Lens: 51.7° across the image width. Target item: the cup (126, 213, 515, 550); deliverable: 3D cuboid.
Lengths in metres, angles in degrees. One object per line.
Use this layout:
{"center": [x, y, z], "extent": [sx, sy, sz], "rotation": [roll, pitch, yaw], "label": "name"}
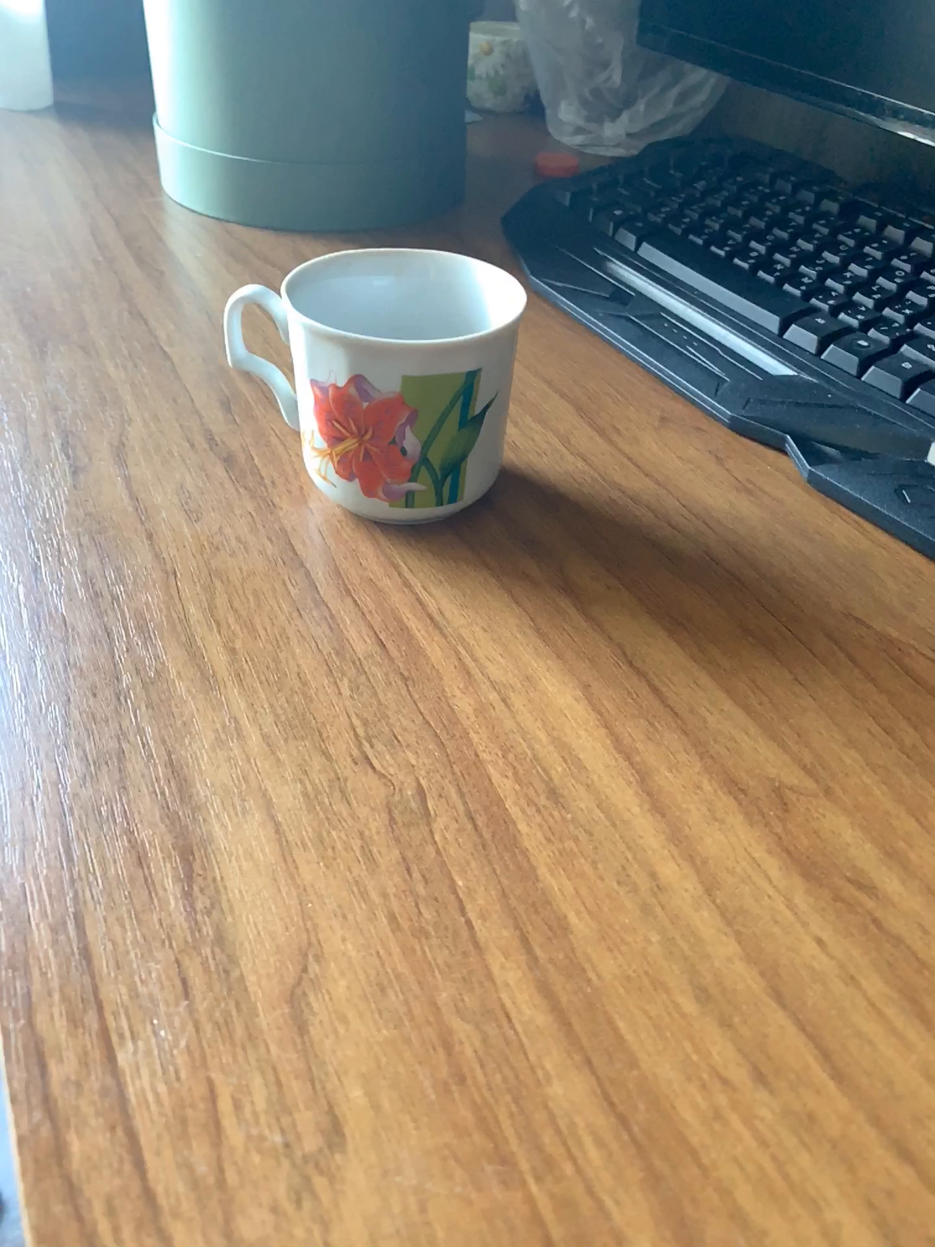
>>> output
{"center": [-0.045, -0.085, 0.336], "extent": [0.110, 0.080, 0.070], "rotation": [8, 39, 4], "label": "cup"}
